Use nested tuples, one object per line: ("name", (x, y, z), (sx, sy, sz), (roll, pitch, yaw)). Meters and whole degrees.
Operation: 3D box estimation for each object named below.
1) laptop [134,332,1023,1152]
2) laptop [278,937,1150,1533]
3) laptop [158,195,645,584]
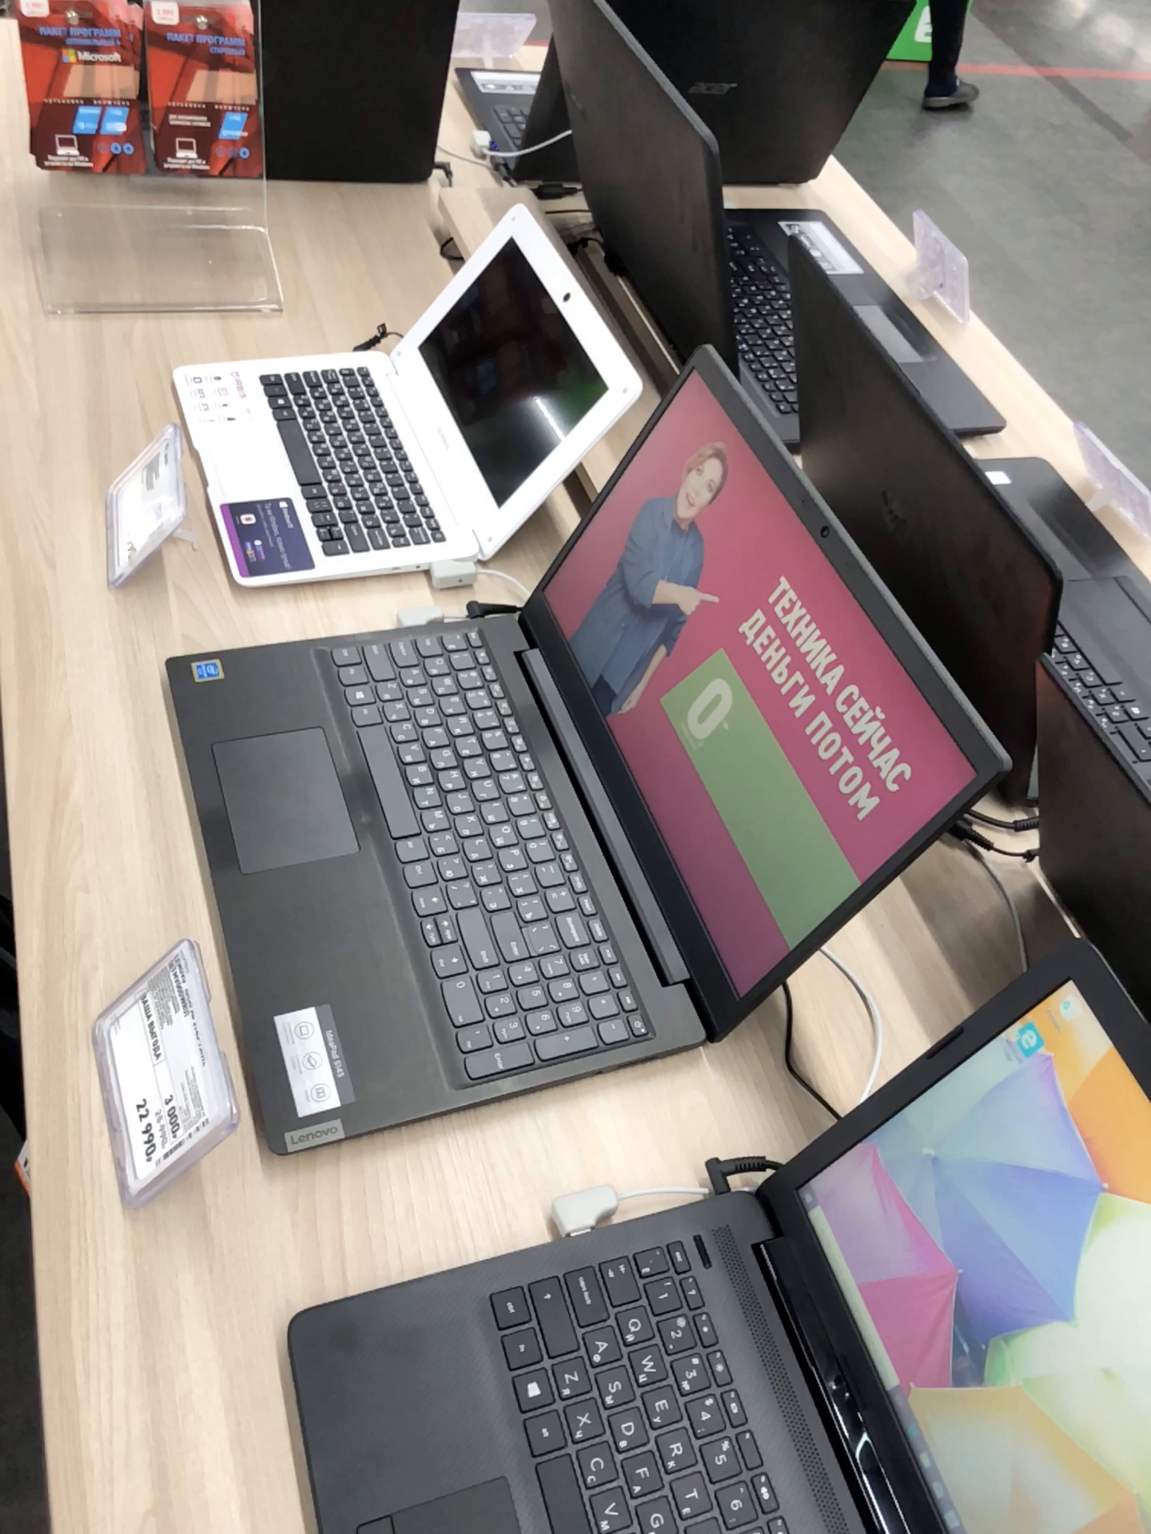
("laptop", (-0.032, -0.040, 0.703), (0.341, 0.212, 0.356), (-10, 52, -19))
("laptop", (0.096, 0.297, 0.415), (0.321, 0.206, 0.375), (-8, 50, -18))
("laptop", (-0.144, -0.303, 0.973), (0.289, 0.139, 0.280), (-10, 51, -19))
